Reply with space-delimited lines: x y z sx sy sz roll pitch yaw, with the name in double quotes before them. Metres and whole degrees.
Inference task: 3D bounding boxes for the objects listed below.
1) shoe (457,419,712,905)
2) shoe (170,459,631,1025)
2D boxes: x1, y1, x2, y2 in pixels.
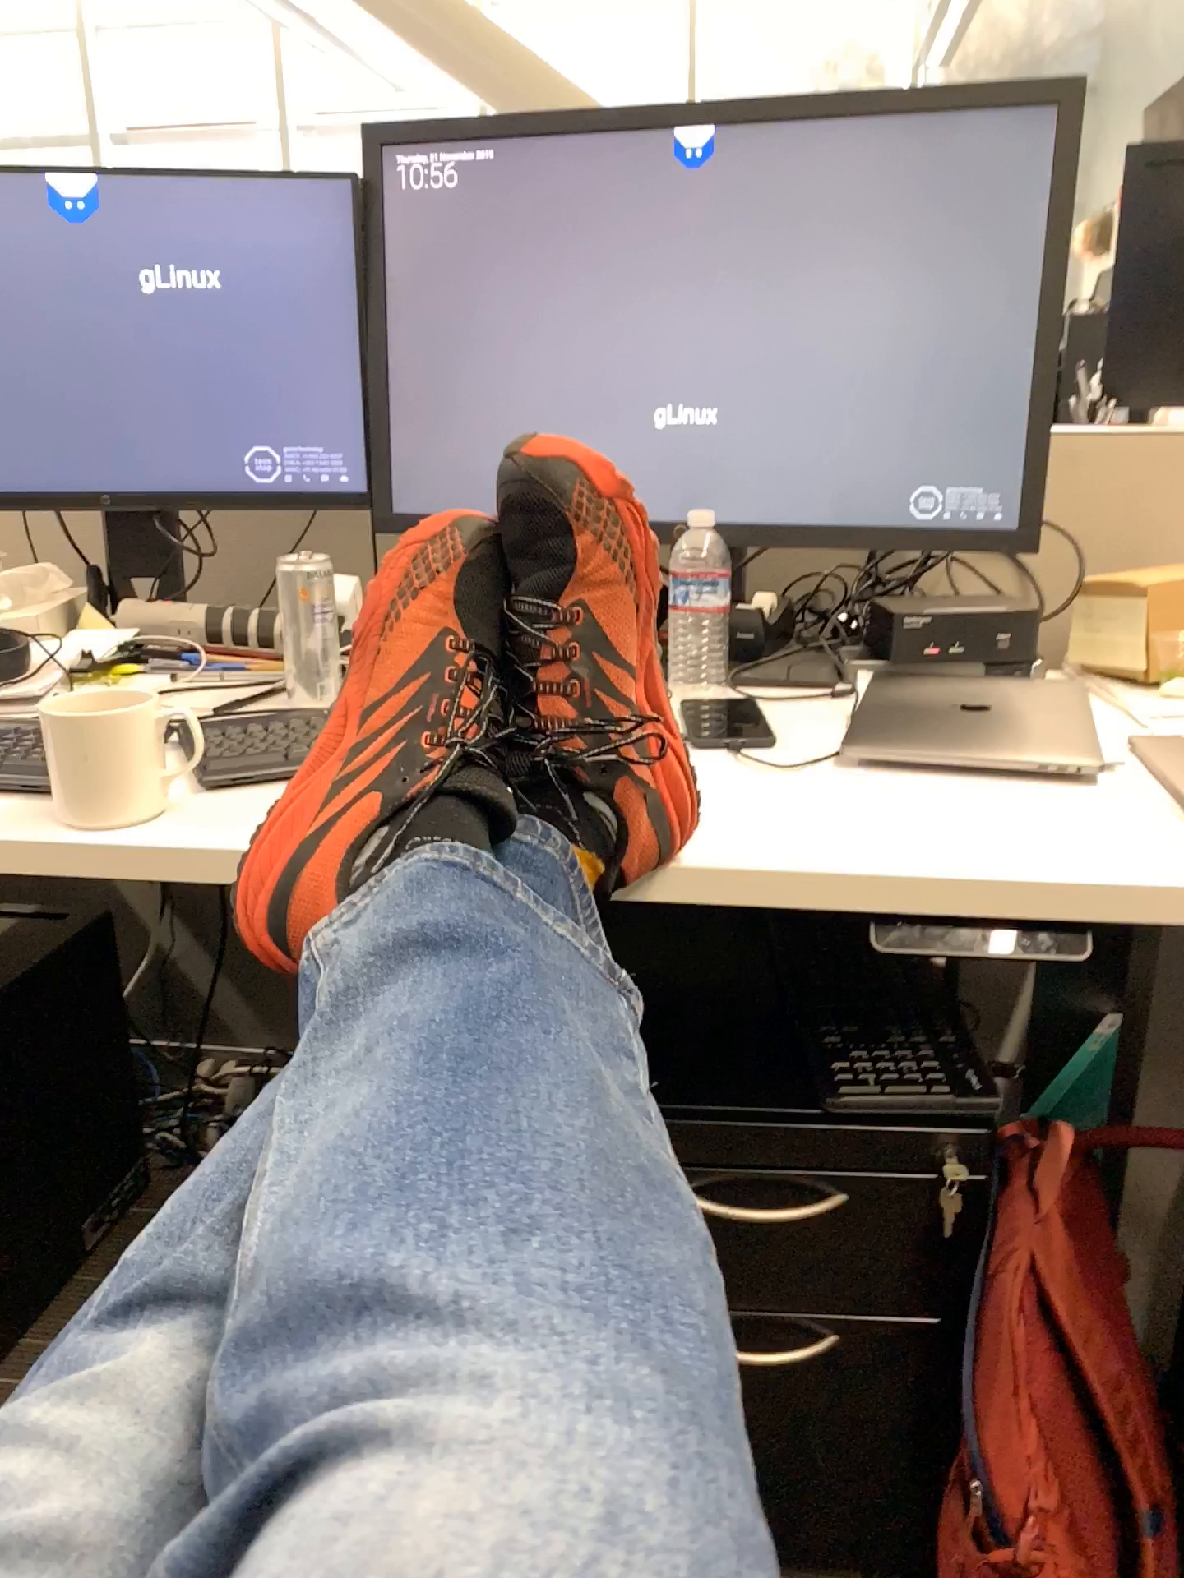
"shoe" -0.001 -0.080 0.742 0.107 0.271 0.082 10 22 38
"shoe" -0.105 -0.035 0.682 0.133 0.289 0.091 13 -13 41
